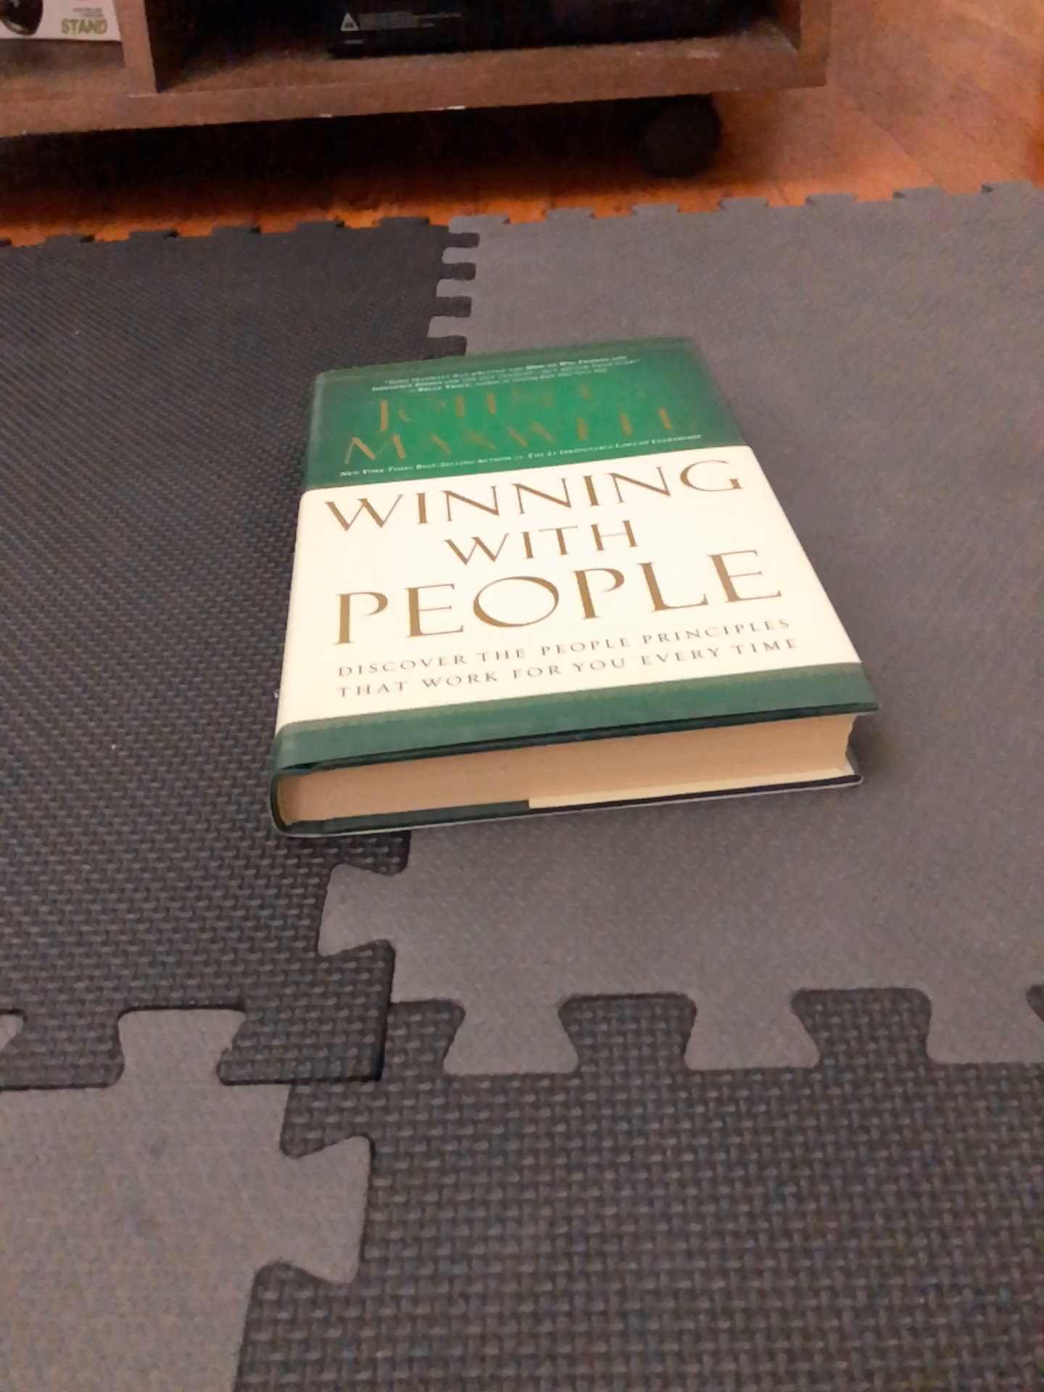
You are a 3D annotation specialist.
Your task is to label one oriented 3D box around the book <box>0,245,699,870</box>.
[{"bbox_3d":[-0.069,-0.072,0.362,0.200,0.030,0.292,-4,39,0],"label":"book"}]
